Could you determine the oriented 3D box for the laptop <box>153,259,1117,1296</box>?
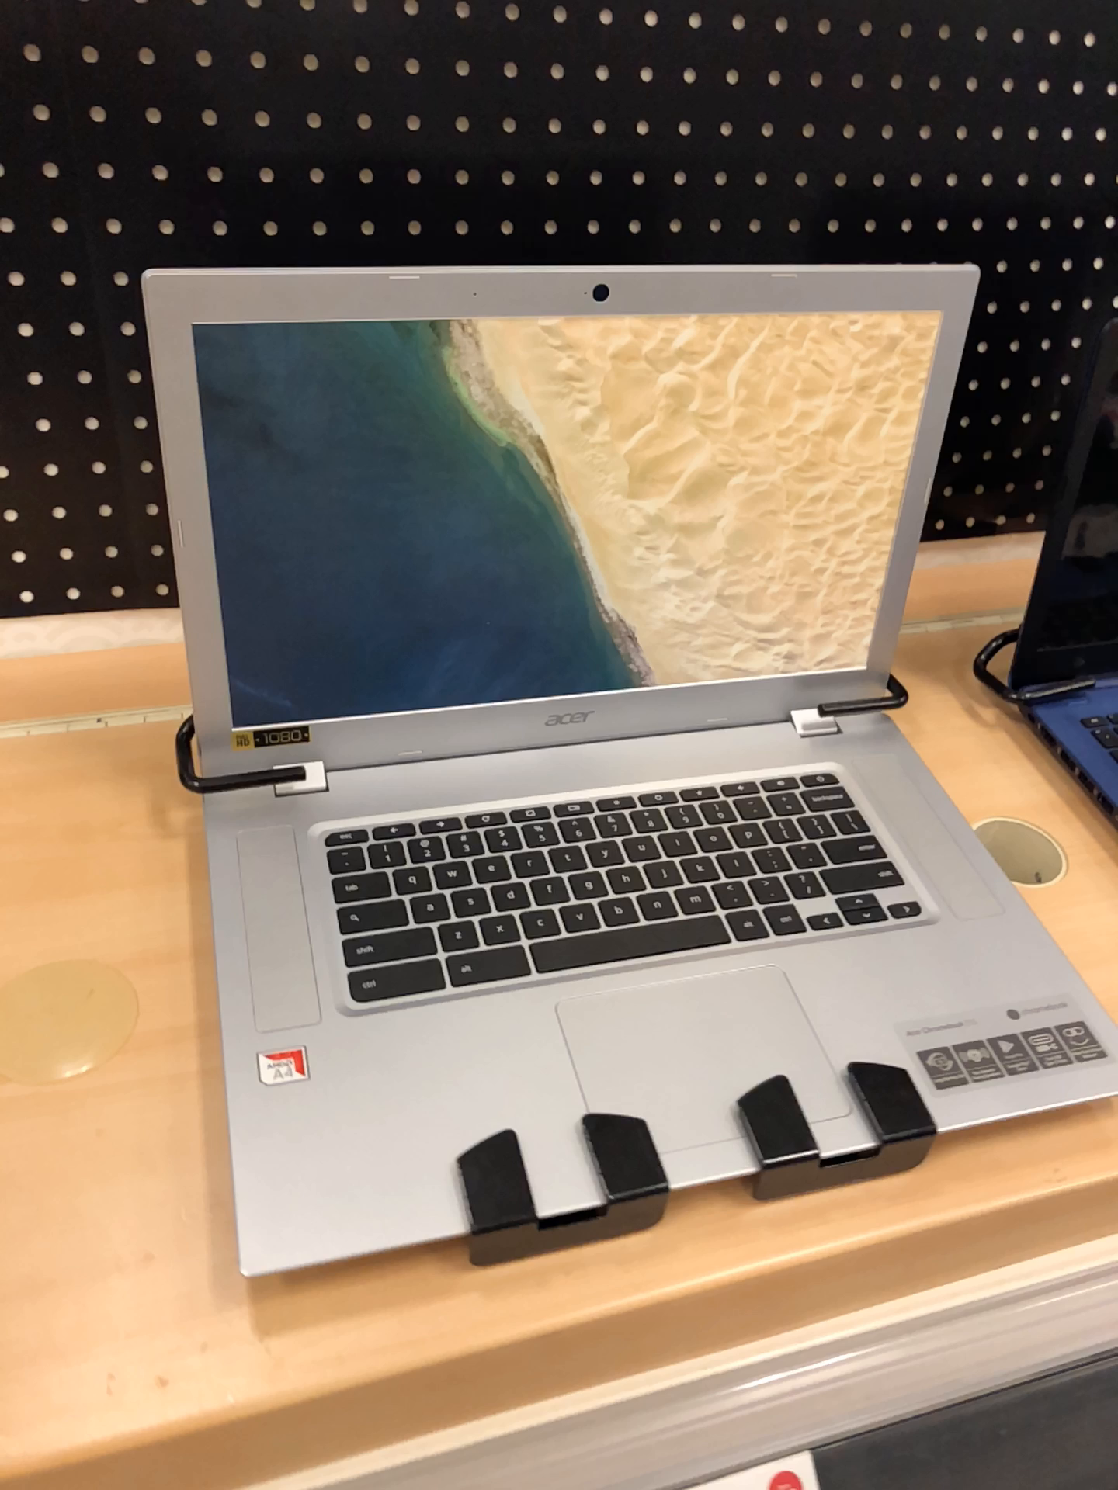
[{"bbox_3d":[0.043,-0.024,0.512,0.372,0.246,0.287,-6,37,-15],"label":"laptop"}]
